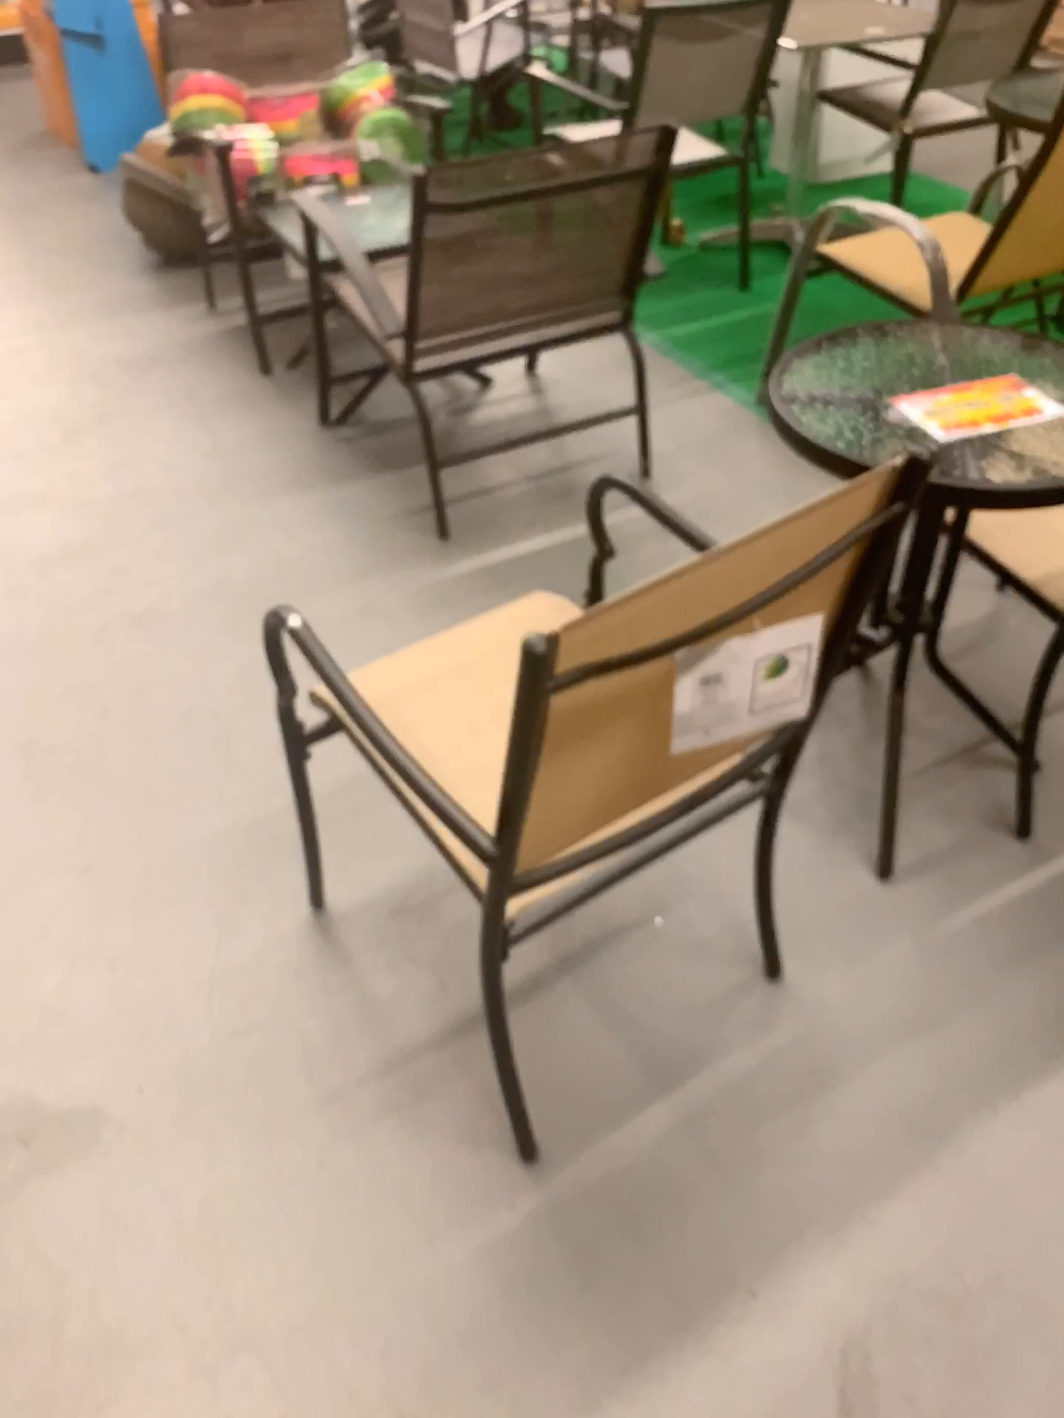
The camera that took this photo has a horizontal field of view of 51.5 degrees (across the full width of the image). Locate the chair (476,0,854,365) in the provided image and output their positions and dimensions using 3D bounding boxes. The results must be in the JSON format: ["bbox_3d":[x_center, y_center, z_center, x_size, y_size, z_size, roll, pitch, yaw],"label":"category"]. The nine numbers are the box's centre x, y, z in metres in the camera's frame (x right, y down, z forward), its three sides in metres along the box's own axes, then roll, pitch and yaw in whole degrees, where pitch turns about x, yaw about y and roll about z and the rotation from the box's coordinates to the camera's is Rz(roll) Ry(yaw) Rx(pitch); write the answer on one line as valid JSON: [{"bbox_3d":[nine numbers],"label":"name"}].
[{"bbox_3d":[0.356,-1.736,3.399,0.675,0.922,0.889,-21,44,-21],"label":"chair"}]

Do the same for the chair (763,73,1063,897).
[{"bbox_3d":[0.865,-0.360,1.702,0.615,0.922,0.678,-22,44,-21],"label":"chair"}]

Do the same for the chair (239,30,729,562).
[{"bbox_3d":[-0.127,-0.981,2.518,0.675,0.802,0.889,-21,44,-21],"label":"chair"}]

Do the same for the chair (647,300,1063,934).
[{"bbox_3d":[0.559,-0.159,1.661,0.525,0.633,0.547,-22,45,-22],"label":"chair"}]

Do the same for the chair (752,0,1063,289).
[{"bbox_3d":[1.325,-2.049,3.691,0.675,0.872,0.889,-21,44,-21],"label":"chair"}]

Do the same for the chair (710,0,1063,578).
[{"bbox_3d":[1.076,-1.074,2.502,0.805,0.981,1.029,-21,44,-21],"label":"chair"}]

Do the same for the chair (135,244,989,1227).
[{"bbox_3d":[0.014,0.016,1.352,0.575,0.862,0.617,-26,46,-26],"label":"chair"}]
